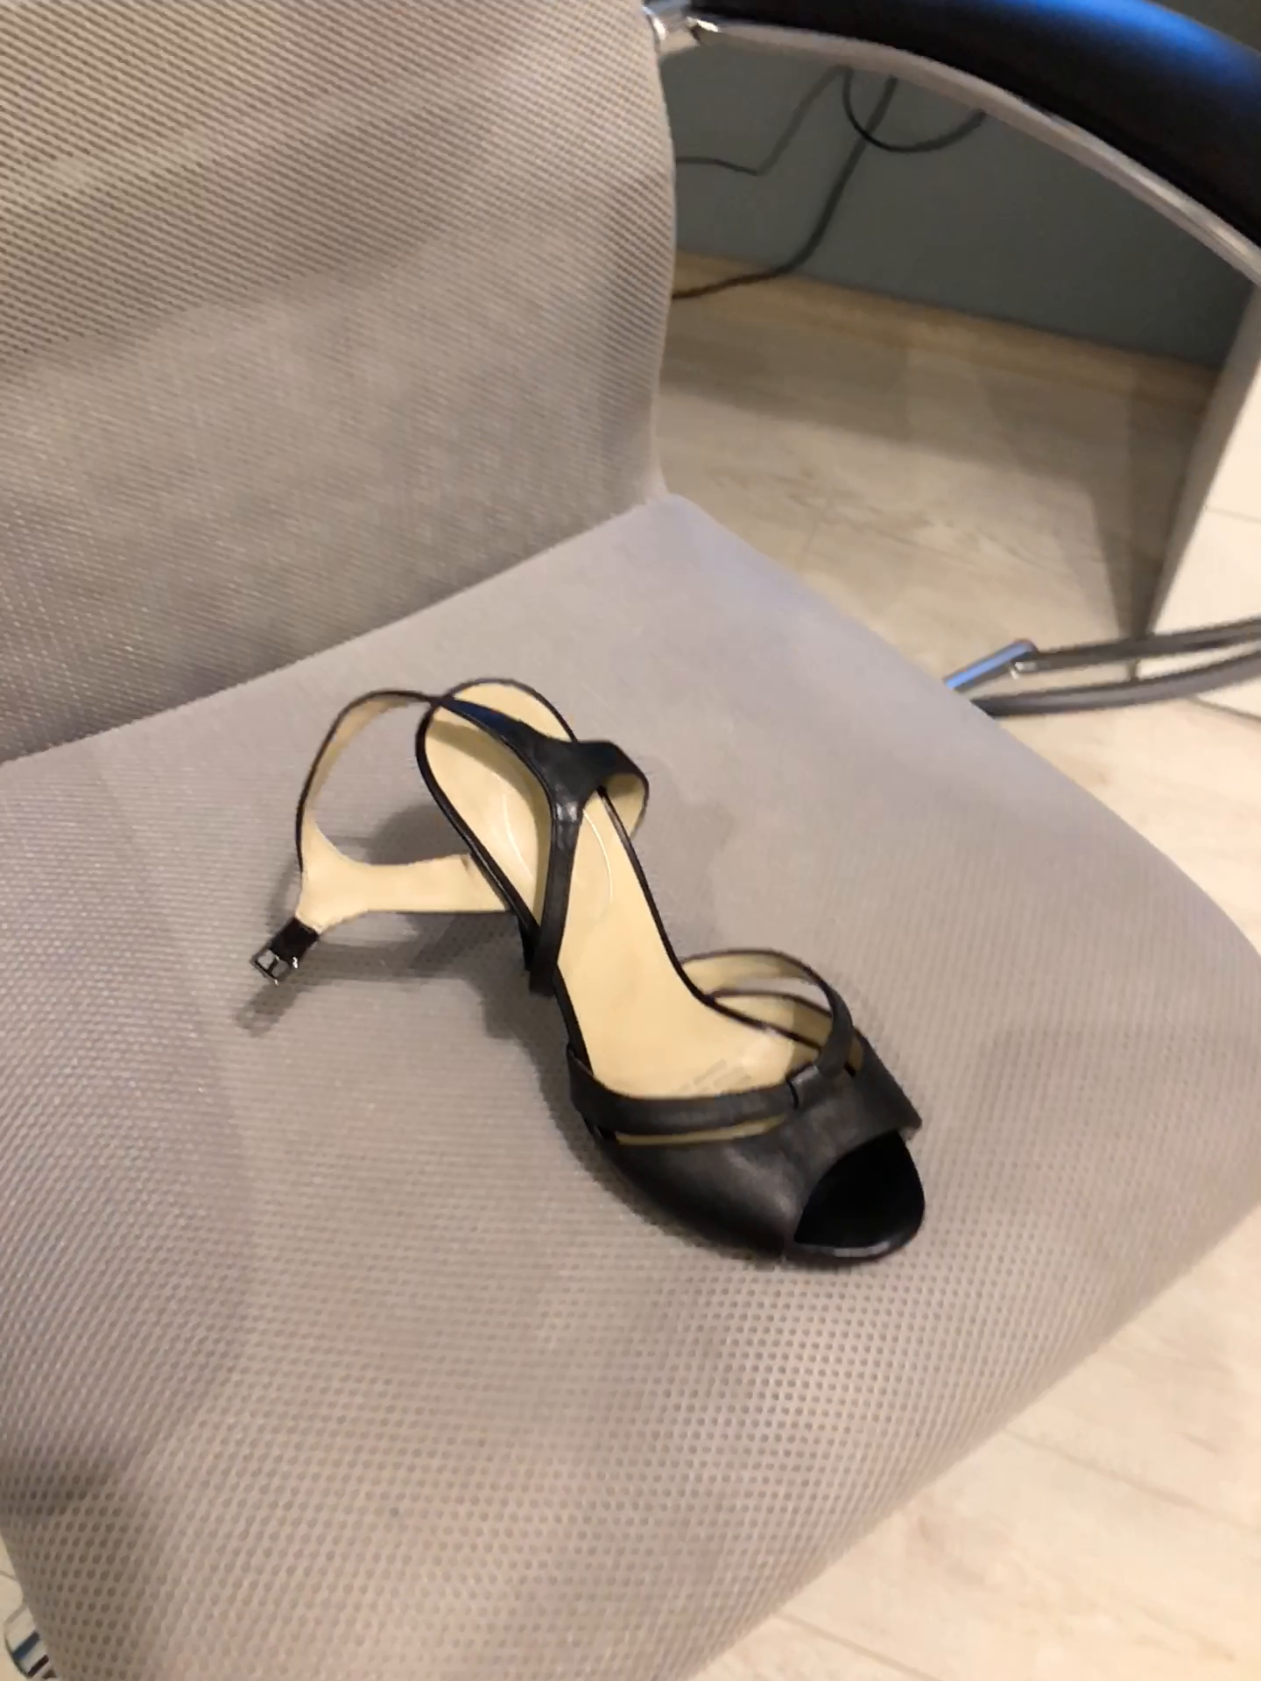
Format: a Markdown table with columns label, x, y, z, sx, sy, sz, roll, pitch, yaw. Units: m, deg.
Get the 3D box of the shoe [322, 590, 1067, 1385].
| label | x | y | z | sx | sy | sz | roll | pitch | yaw |
| --- | --- | --- | --- | --- | --- | --- | --- | --- | --- |
| shoe | 0.009 | 0.040 | 0.436 | 0.090 | 0.119 | 0.211 | -34 | 59 | -25 |
